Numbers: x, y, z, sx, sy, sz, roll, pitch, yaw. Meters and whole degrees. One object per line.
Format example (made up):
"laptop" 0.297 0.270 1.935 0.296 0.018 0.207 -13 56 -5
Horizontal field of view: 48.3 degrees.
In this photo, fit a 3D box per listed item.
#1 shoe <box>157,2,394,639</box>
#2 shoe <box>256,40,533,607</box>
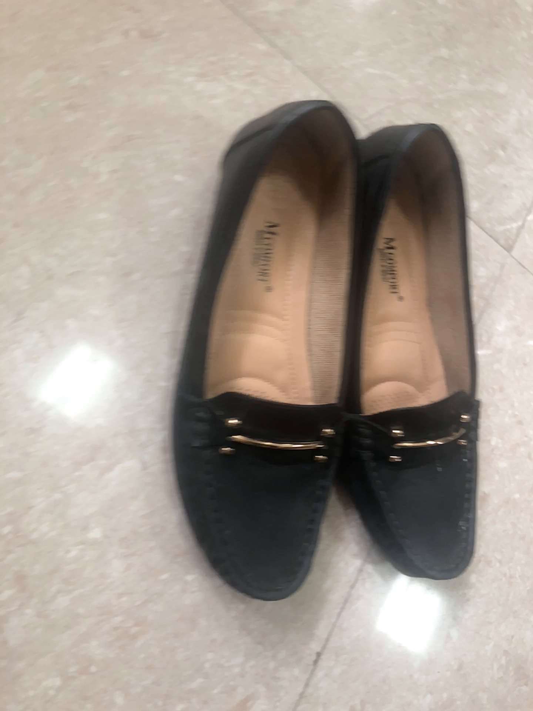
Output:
"shoe" -0.003 -0.022 0.337 0.100 0.080 0.310 3 79 -22
"shoe" 0.073 -0.023 0.372 0.100 0.080 0.310 -4 81 -23
